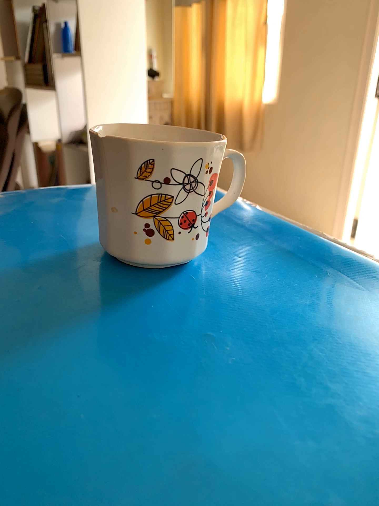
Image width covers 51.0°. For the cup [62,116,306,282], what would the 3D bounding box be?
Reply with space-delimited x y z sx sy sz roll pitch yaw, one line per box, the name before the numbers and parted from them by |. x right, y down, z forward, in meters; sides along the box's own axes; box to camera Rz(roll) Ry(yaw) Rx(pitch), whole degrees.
cup | -0.007 -0.035 0.204 0.100 0.060 0.070 -8 25 -19
